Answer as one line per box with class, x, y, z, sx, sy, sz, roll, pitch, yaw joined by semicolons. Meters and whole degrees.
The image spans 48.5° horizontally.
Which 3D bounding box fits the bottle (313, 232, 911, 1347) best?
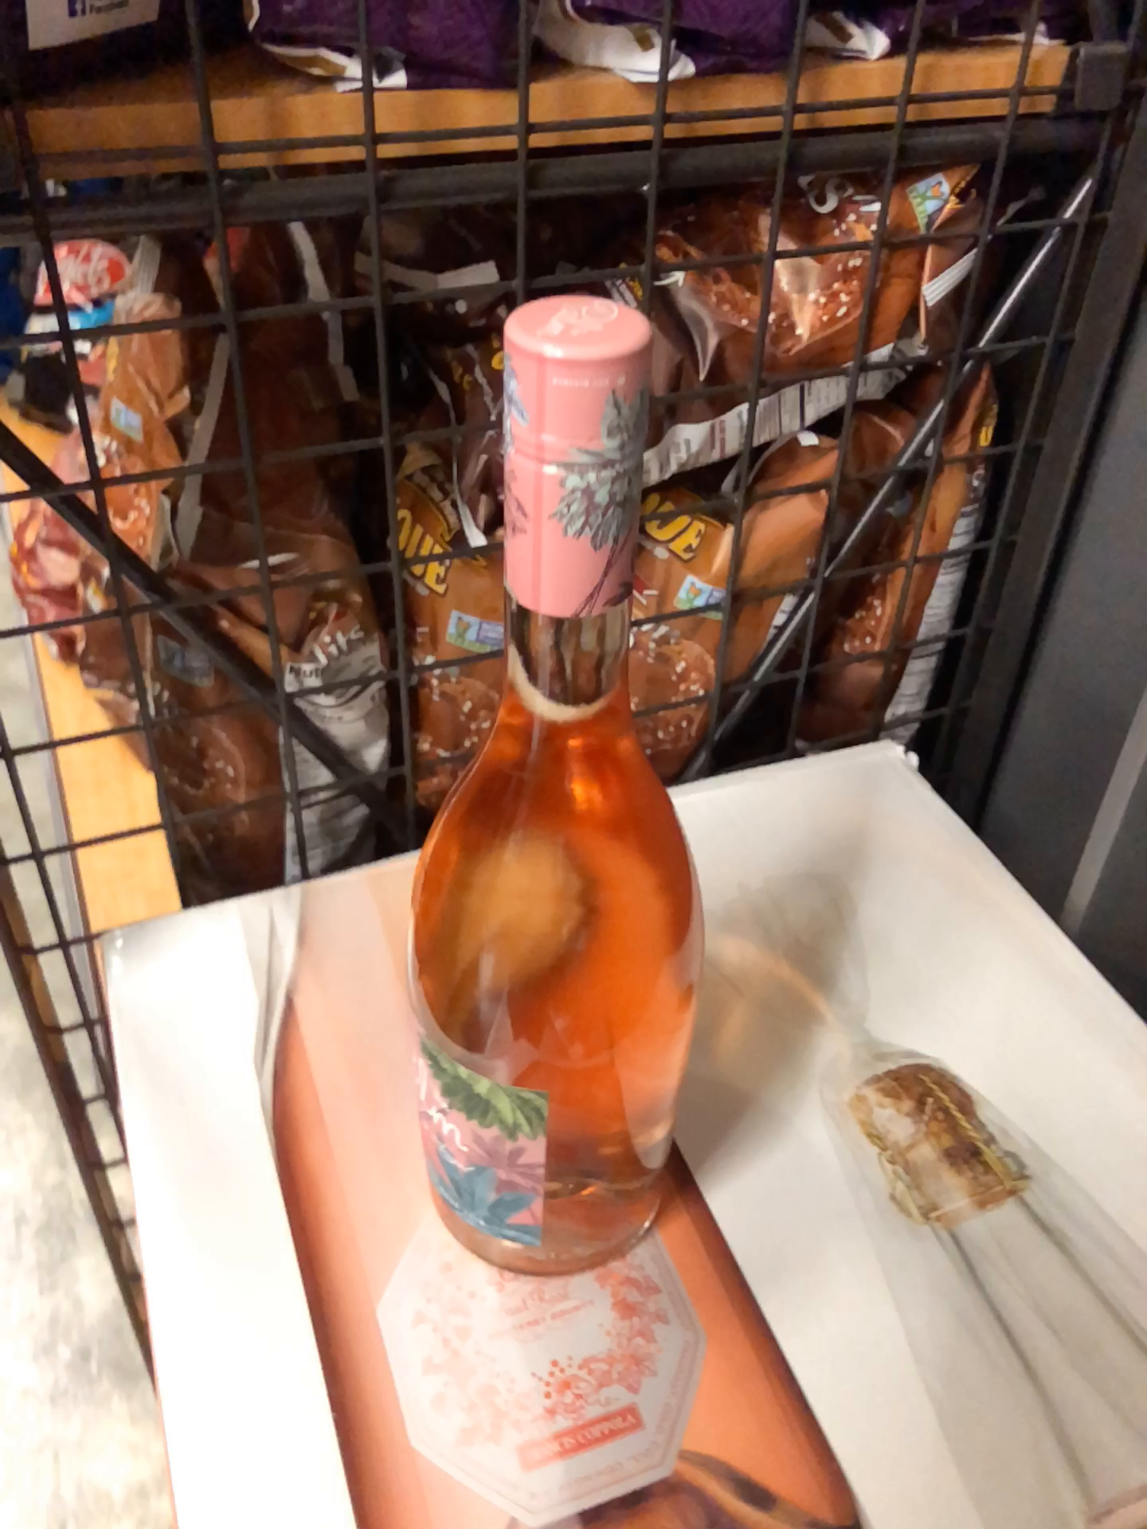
bottle;-0.002;0.025;0.333;0.090;0.285;0.087;2;38;-1
